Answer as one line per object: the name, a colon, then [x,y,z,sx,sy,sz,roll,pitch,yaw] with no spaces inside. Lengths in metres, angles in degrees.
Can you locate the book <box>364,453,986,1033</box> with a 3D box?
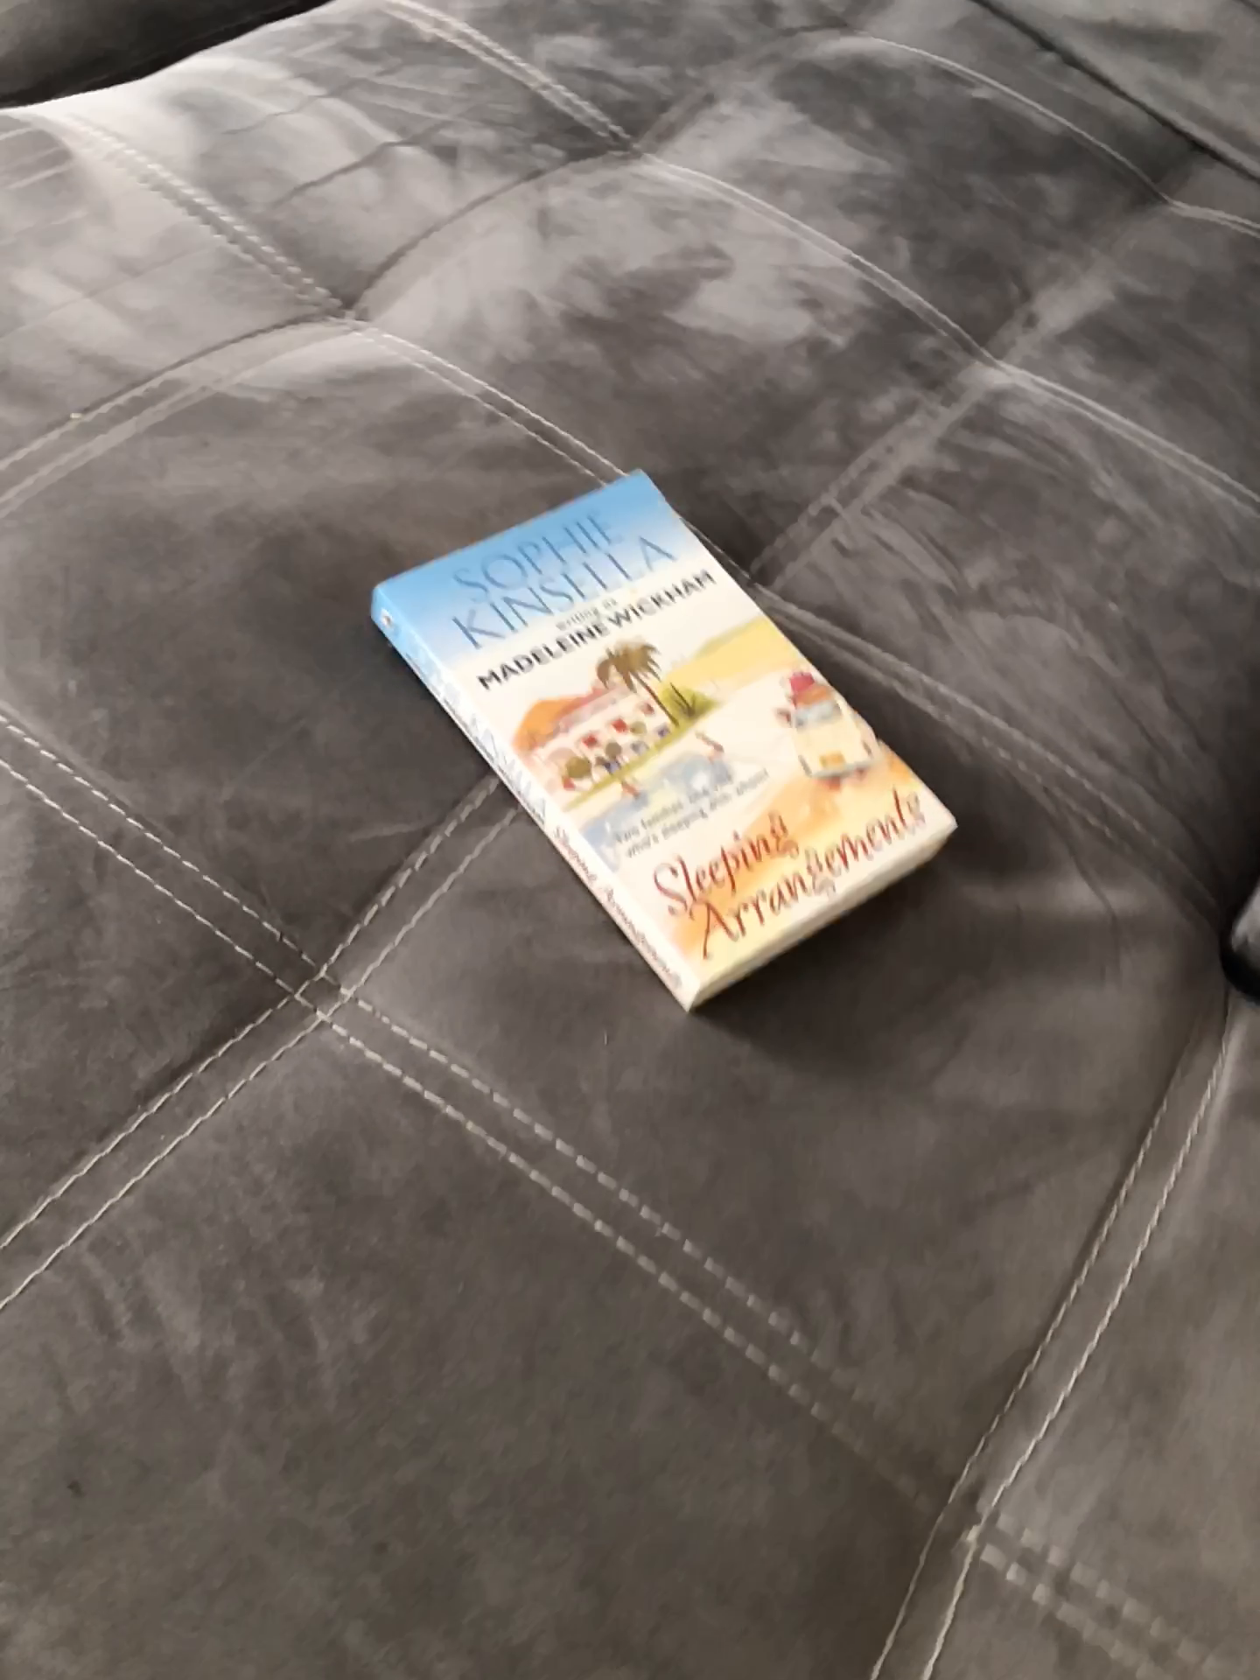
book: [0.014,-0.046,0.506,0.131,0.030,0.200,-29,69,-29]
